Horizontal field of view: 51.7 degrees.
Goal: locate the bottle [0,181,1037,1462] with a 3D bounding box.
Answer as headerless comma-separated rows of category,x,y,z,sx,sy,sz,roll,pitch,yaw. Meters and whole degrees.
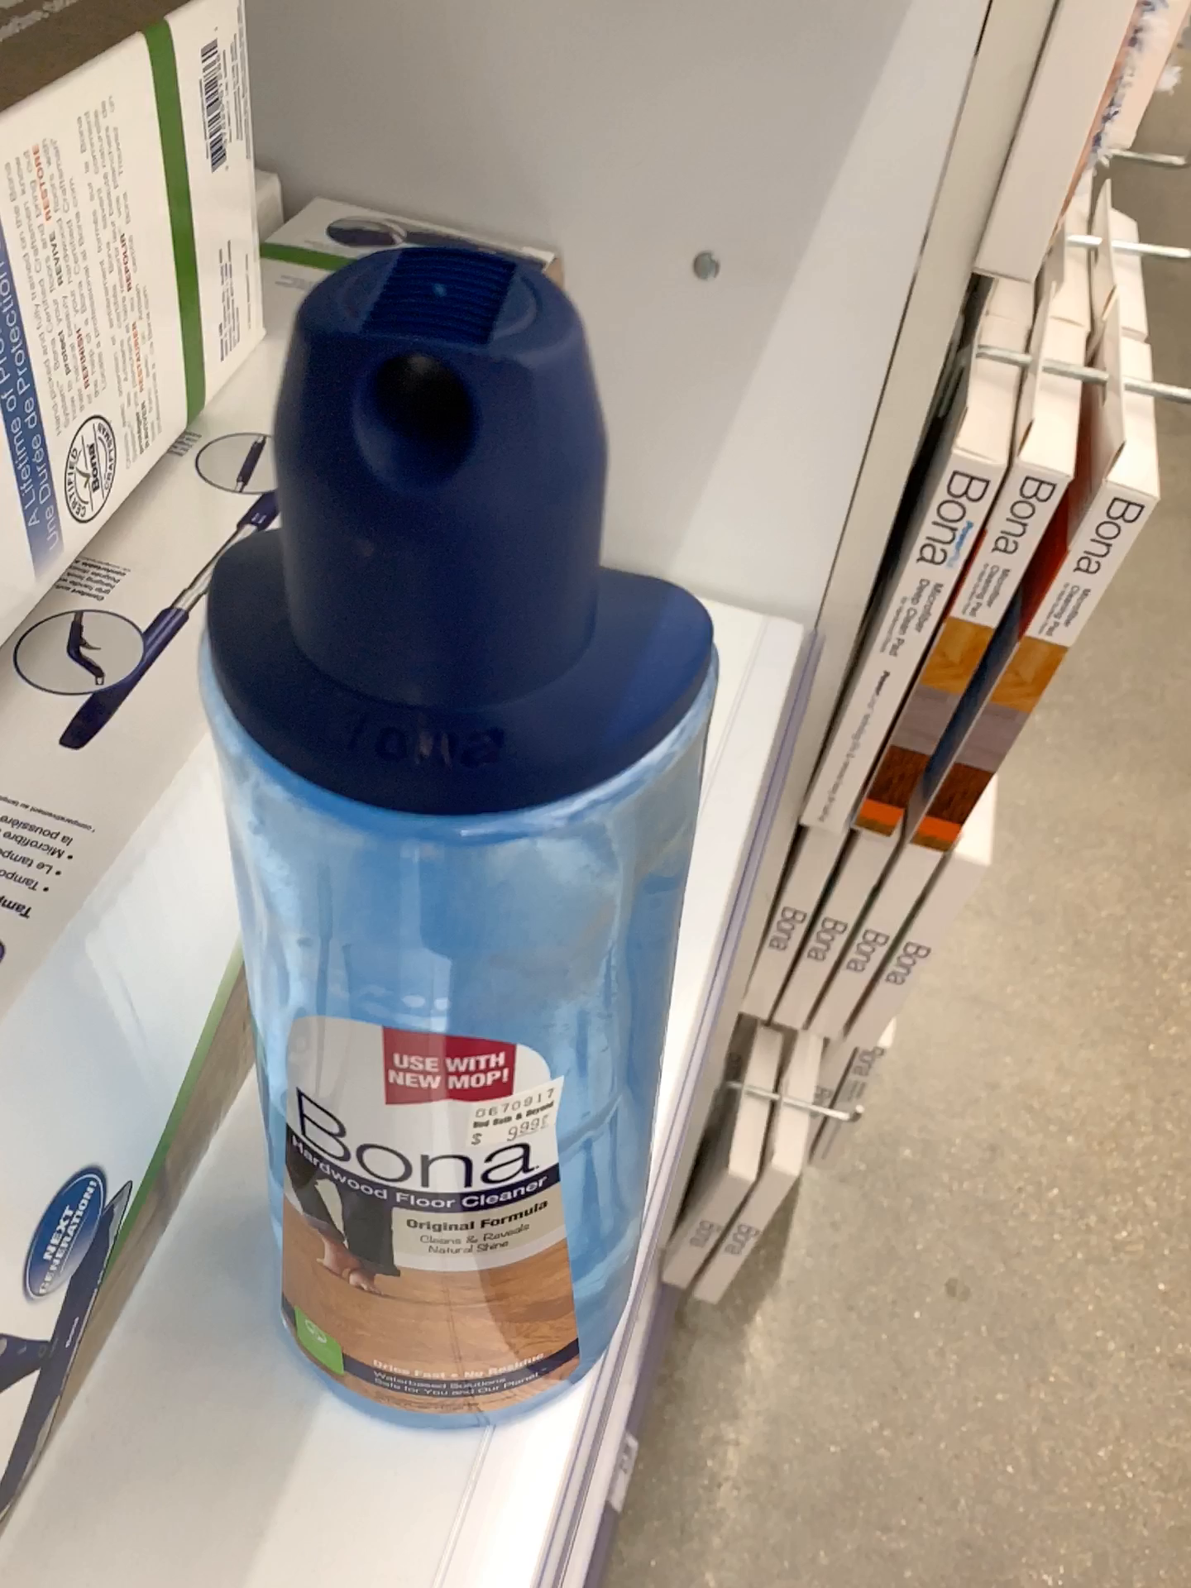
bottle,-0.021,0.046,0.241,0.100,0.279,0.080,5,47,-3
